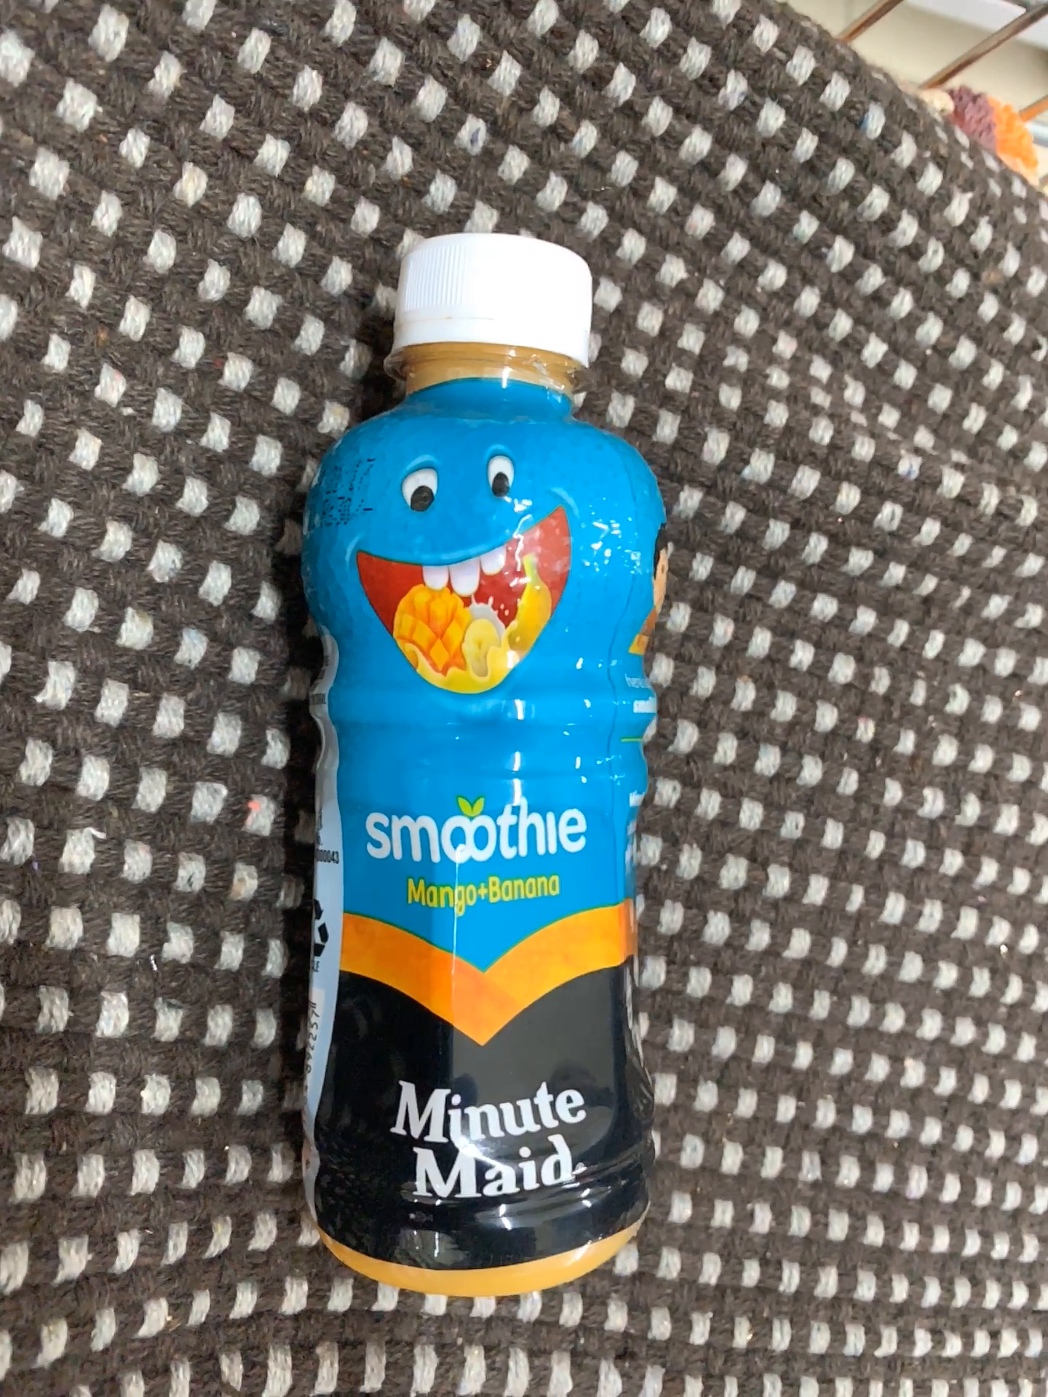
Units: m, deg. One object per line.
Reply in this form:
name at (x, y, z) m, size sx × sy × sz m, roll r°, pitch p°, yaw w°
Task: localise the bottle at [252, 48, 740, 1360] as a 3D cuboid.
bottle at (-0.004, 0.002, 0.165) m, size 0.060 × 0.040 × 0.160 m, roll -2°, pitch 94°, yaw -27°
